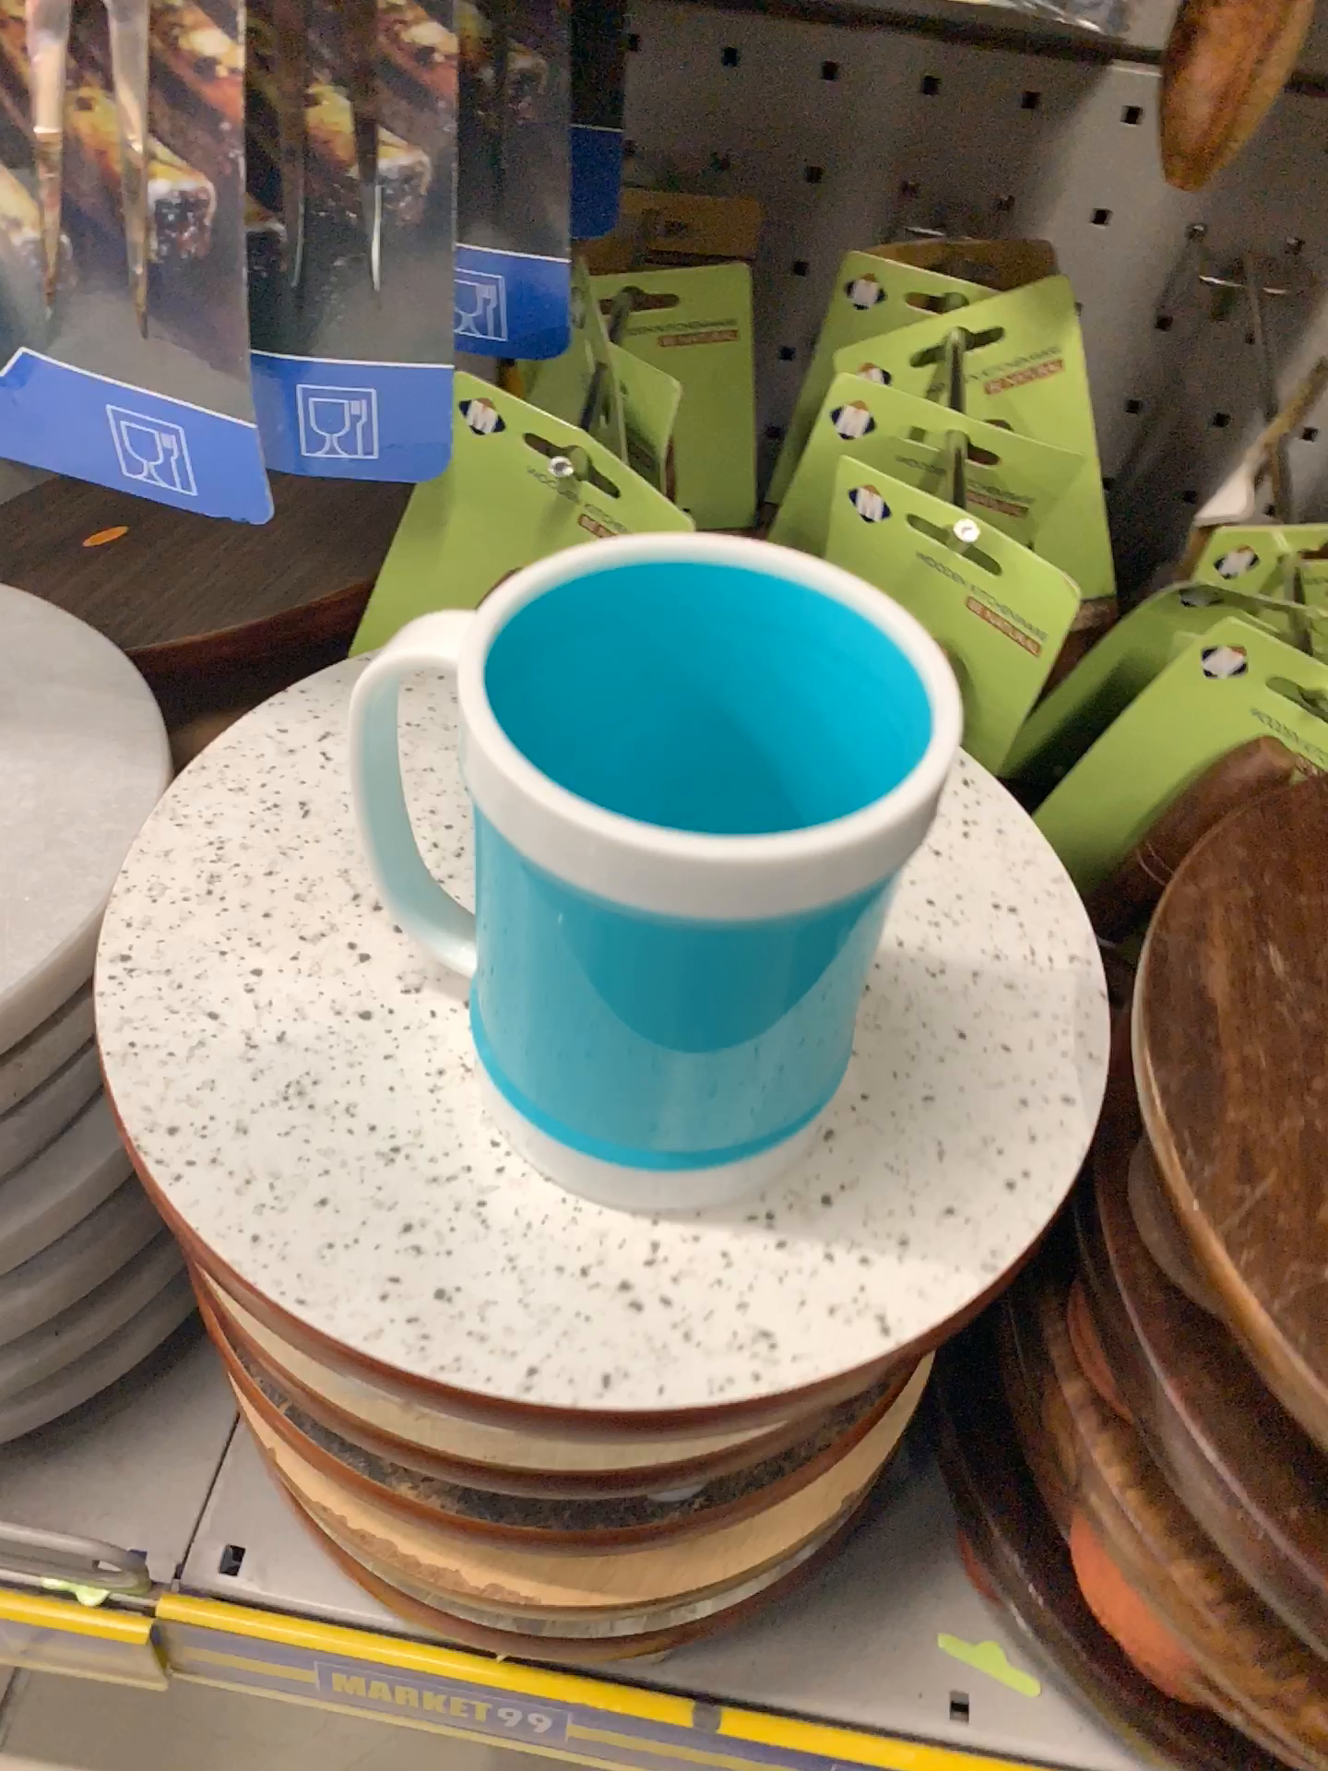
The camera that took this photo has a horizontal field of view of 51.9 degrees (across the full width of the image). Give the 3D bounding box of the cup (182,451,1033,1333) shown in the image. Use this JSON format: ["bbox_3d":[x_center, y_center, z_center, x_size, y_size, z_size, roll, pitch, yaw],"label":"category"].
[{"bbox_3d":[-0.009,0.002,0.252,0.110,0.110,0.080,19,47,12],"label":"cup"}]
